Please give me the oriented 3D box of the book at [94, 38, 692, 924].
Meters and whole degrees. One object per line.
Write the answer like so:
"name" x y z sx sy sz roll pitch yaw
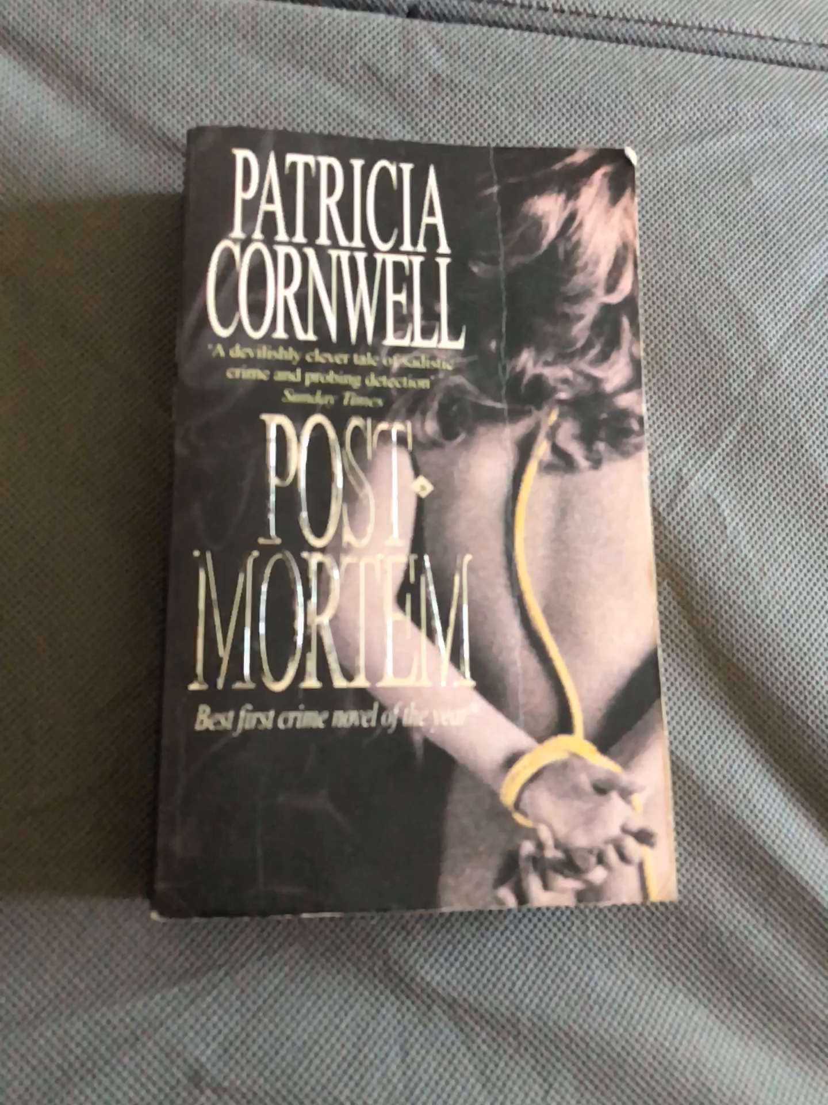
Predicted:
"book" -0.007 -0.017 0.210 0.110 0.050 0.180 1 76 -10
